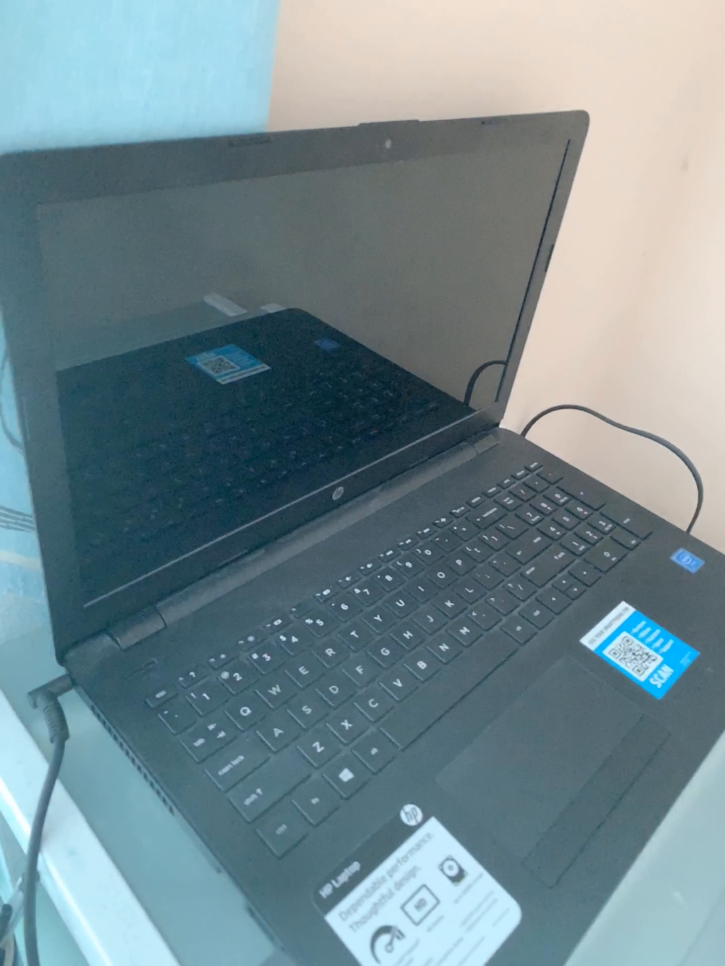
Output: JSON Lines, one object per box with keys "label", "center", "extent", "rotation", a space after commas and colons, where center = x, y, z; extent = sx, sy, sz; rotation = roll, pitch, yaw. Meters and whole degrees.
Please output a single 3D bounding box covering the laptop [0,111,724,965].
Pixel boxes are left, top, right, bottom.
{"label": "laptop", "center": [0.080, -0.012, 0.343], "extent": [0.245, 0.225, 0.360], "rotation": [35, 43, 30]}
